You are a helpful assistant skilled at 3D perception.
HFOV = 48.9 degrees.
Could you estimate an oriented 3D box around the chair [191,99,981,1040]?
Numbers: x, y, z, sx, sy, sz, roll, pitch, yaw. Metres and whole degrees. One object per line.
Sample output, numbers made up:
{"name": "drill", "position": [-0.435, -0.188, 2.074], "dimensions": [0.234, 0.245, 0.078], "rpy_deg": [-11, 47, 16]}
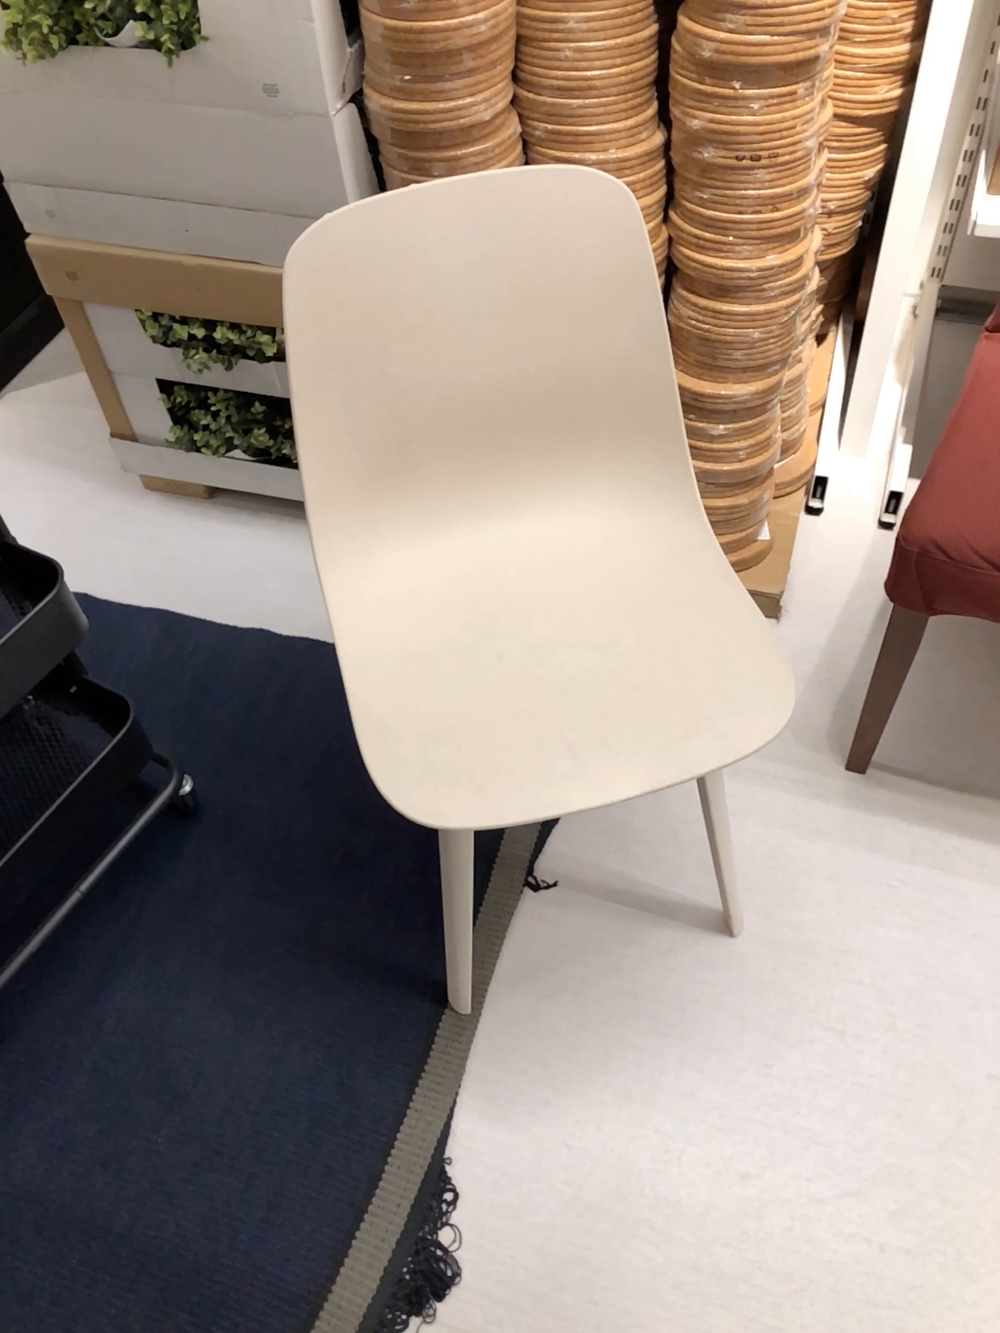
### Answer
{"name": "chair", "position": [0.049, -0.054, 1.086], "dimensions": [0.450, 0.696, 0.493], "rpy_deg": [-16, 52, -6]}
